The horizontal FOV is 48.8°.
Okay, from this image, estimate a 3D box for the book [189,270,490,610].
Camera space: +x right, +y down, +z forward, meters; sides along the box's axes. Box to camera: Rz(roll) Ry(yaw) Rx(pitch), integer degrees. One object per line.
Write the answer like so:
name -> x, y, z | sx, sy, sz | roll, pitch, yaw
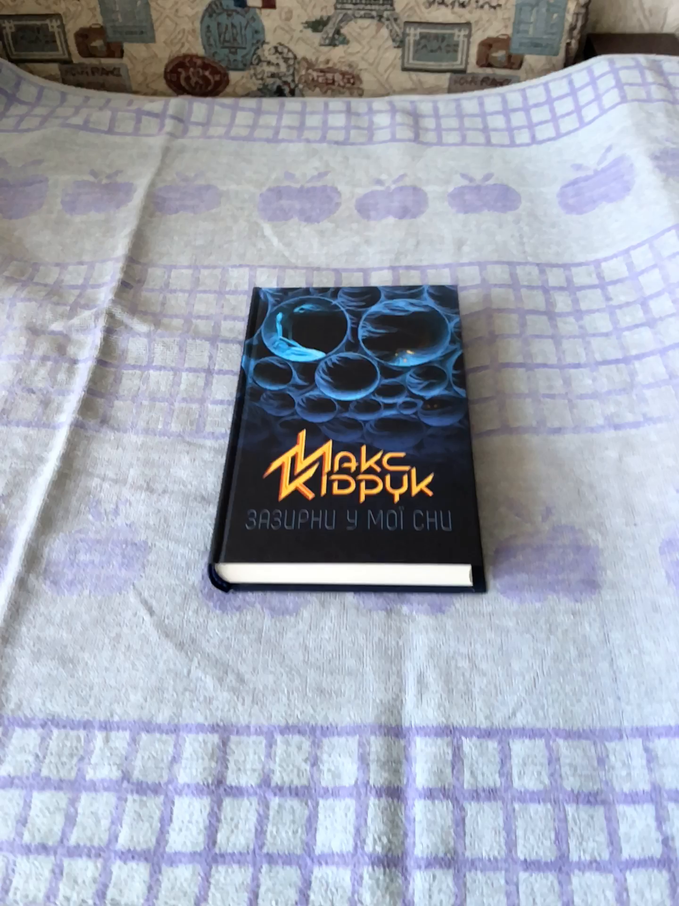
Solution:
book -> 0.005, -0.021, 0.430 | 0.140, 0.035, 0.222 | 0, 51, 4
